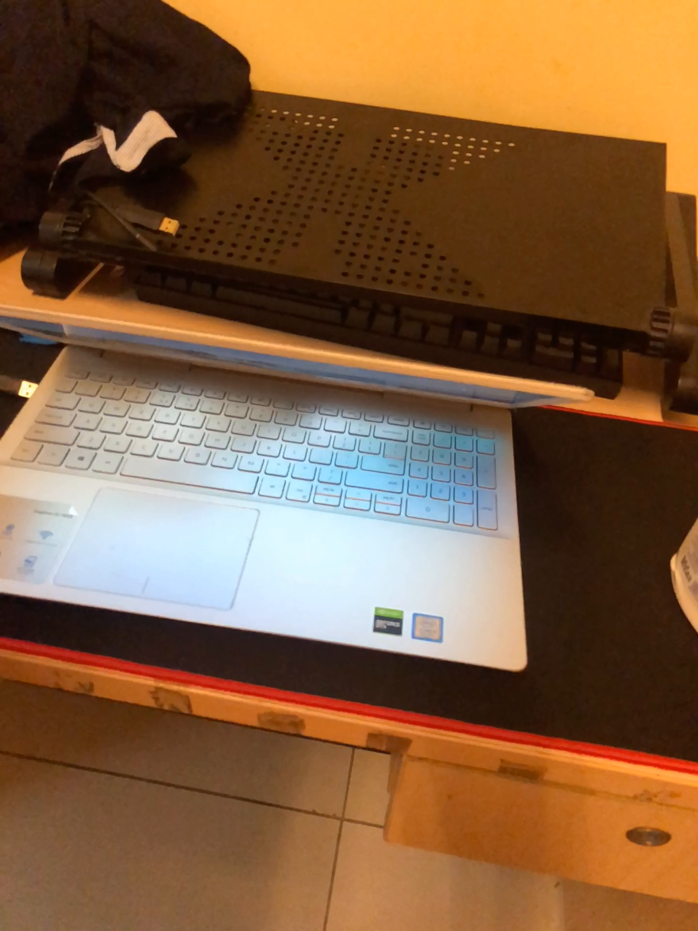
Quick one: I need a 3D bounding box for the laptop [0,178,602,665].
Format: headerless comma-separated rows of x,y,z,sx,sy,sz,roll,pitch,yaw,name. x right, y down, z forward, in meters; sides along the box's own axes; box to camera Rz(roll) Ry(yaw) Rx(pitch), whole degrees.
-0.055,-0.039,0.469,0.351,0.139,0.219,8,44,2,laptop
